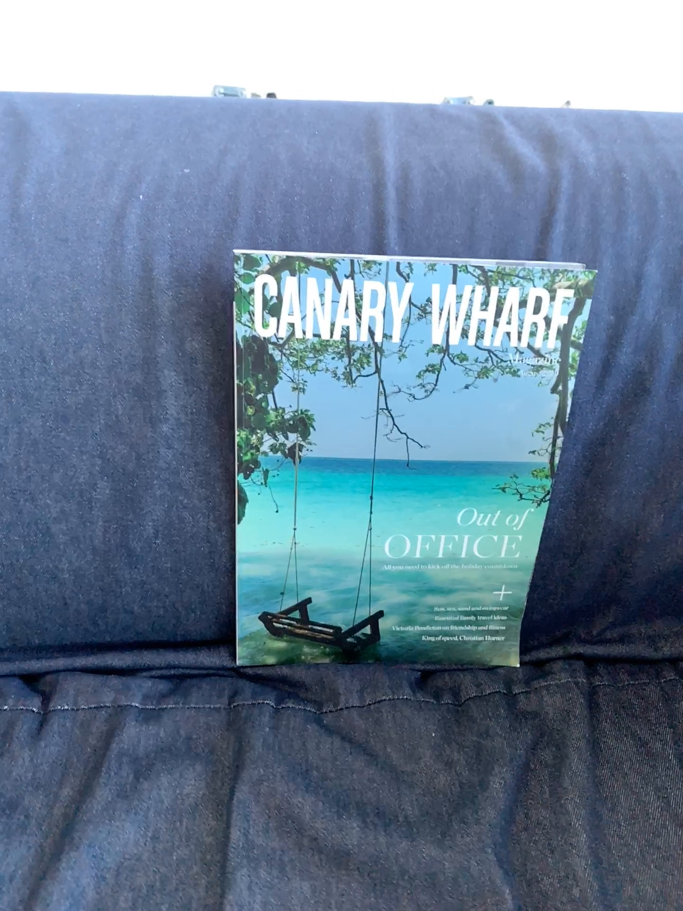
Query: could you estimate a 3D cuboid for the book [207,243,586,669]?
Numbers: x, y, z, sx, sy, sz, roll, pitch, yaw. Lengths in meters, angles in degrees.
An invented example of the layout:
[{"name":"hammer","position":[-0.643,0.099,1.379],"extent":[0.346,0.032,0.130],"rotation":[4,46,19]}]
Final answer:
[{"name":"book","position":[0.025,0.013,0.442],"extent":[0.205,0.273,0.030],"rotation":[1,22,-3]}]
